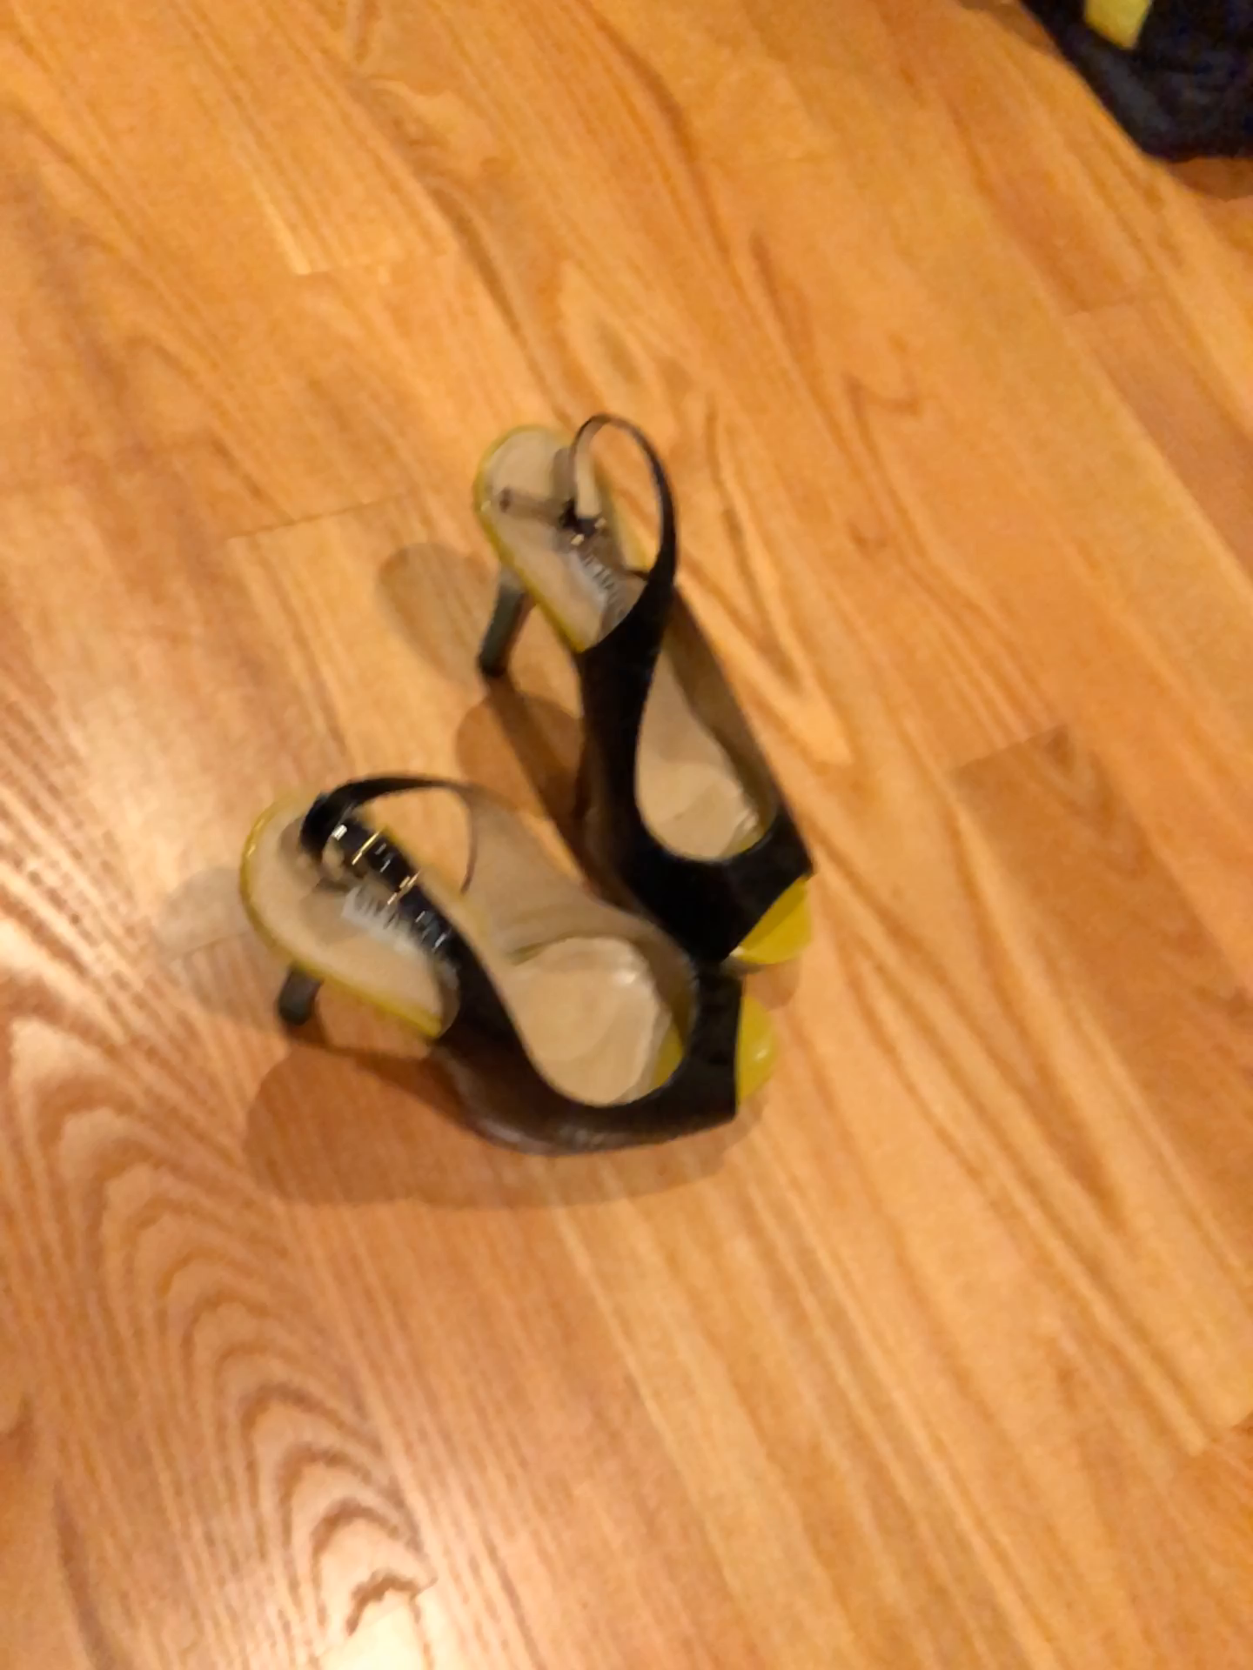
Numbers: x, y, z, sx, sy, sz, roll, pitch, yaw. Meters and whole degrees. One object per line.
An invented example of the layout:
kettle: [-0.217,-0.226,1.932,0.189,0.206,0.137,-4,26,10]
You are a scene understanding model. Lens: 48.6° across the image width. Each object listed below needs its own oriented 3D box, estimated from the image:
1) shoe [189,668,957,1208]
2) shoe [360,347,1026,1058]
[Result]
shoe: [-0.020,0.044,0.434,0.201,0.131,0.085,15,62,-14]
shoe: [0.014,-0.042,0.488,0.085,0.121,0.204,-37,83,-31]
